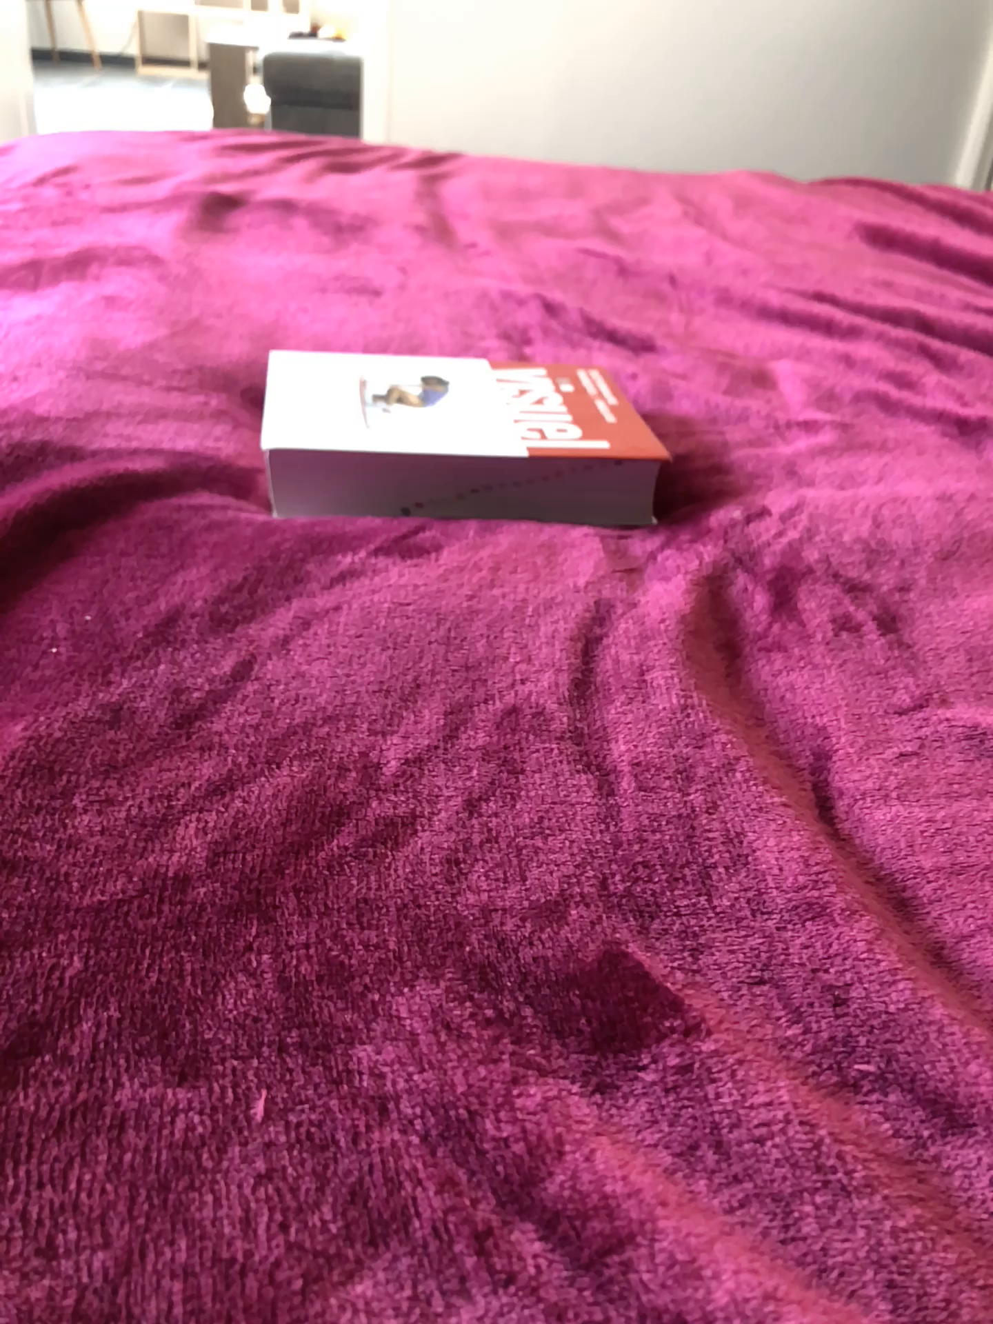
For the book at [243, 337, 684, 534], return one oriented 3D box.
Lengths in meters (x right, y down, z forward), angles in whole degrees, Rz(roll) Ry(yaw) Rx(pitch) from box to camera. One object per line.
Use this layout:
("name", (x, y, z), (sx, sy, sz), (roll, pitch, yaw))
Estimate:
("book", (-0.022, -0.109, 0.517), (0.180, 0.039, 0.141), (0, 31, -9))
